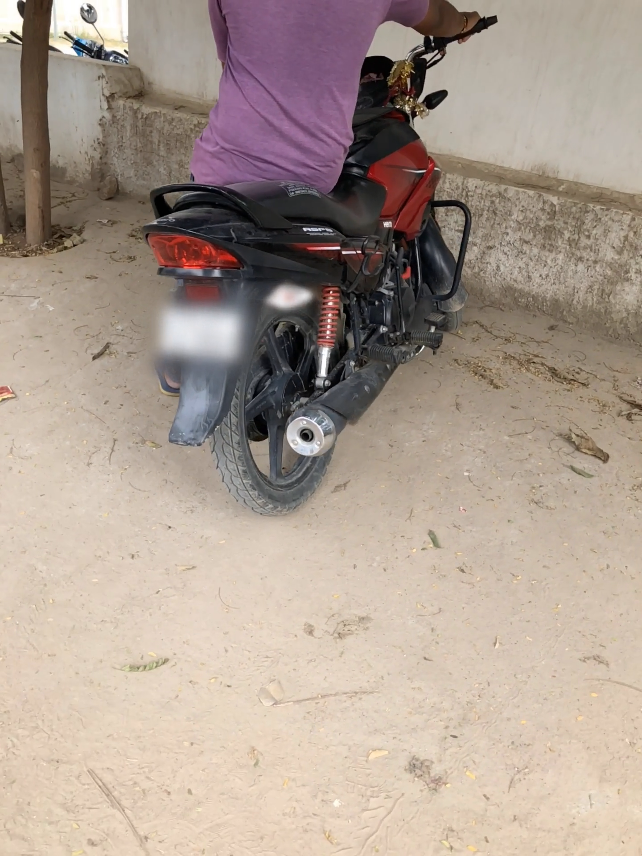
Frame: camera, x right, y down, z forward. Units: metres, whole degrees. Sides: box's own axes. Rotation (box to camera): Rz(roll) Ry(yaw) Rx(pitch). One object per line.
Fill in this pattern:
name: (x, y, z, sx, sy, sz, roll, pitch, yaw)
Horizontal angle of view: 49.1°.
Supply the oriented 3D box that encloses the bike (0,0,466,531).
bike: (-0.113, -0.824, 2.149, 0.740, 1.086, 1.711, 13, 36, 10)
